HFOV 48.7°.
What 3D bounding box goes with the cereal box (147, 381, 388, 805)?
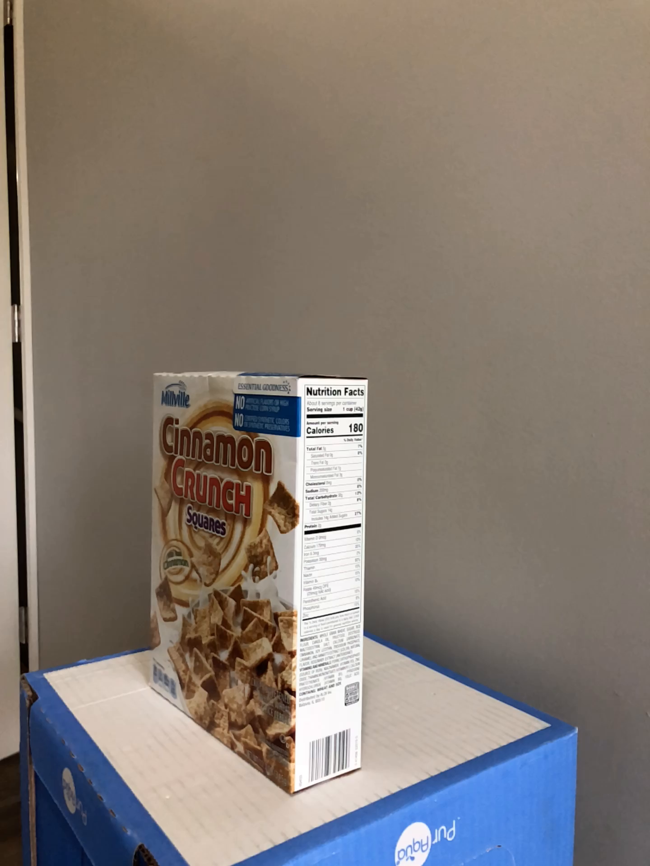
[{"bbox_3d":[-0.052,0.087,0.521,0.070,0.250,0.210,-2,4,-37],"label":"cereal box"}]
